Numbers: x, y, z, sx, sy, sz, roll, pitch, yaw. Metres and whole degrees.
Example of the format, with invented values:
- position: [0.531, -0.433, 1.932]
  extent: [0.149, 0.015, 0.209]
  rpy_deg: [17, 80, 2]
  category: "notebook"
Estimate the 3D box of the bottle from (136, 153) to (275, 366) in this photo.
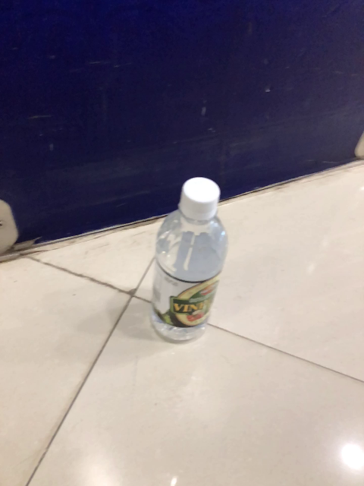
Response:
- position: [0.010, 0.024, 0.375]
  extent: [0.080, 0.189, 0.070]
  rpy_deg: [-24, 55, -26]
  category: "bottle"
